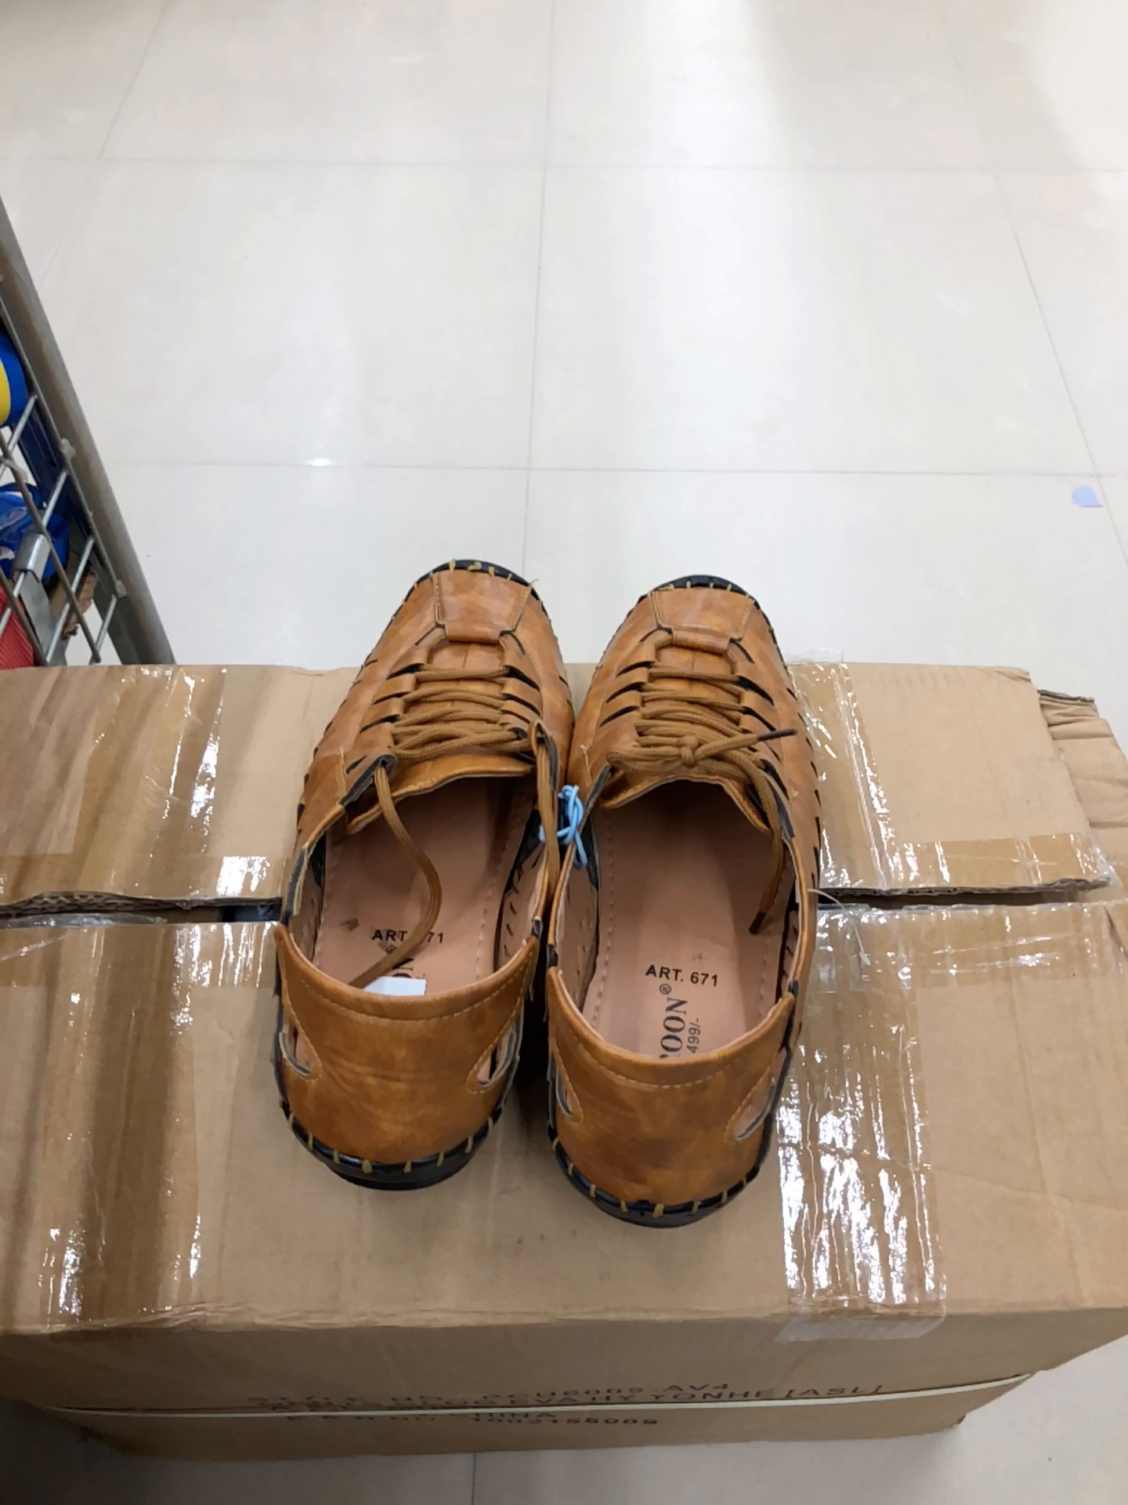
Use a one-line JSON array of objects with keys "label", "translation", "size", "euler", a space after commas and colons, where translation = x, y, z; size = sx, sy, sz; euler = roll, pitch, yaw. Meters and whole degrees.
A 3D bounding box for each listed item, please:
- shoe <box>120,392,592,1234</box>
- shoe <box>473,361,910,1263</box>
[{"label": "shoe", "translation": [-0.054, 0.009, 0.465], "size": [0.110, 0.119, 0.292], "euler": [3, 54, 3]}, {"label": "shoe", "translation": [0.048, 0.006, 0.450], "size": [0.110, 0.119, 0.302], "euler": [5, 54, 4]}]
